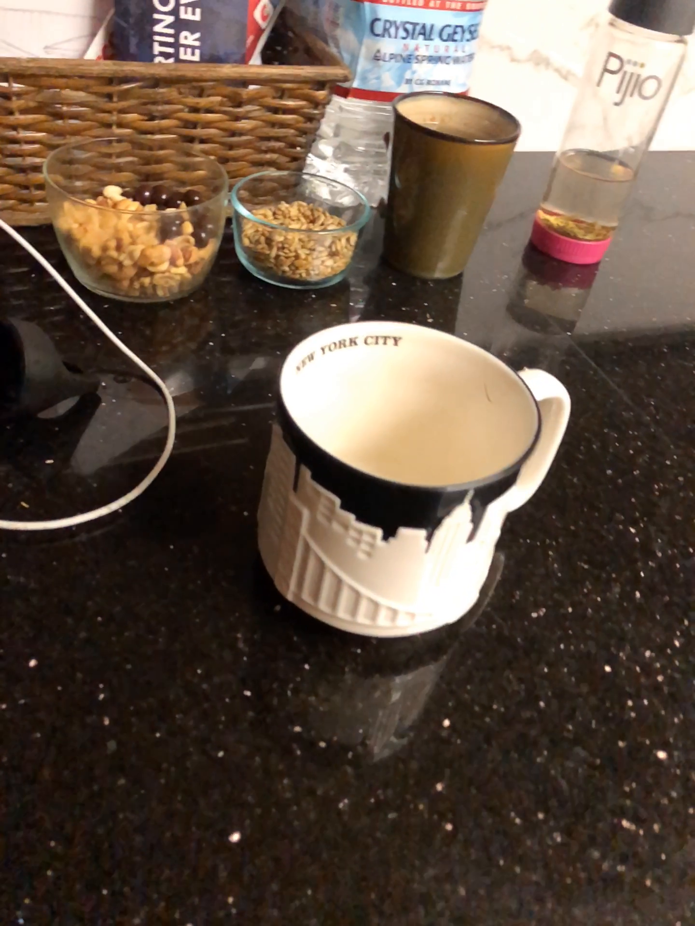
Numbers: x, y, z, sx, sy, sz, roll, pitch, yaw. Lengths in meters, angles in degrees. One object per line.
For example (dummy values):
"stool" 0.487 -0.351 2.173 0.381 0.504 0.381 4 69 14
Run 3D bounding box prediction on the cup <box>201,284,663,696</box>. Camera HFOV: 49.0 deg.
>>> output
"cup" 0.031 0.001 0.334 0.150 0.090 0.110 -20 50 -31
